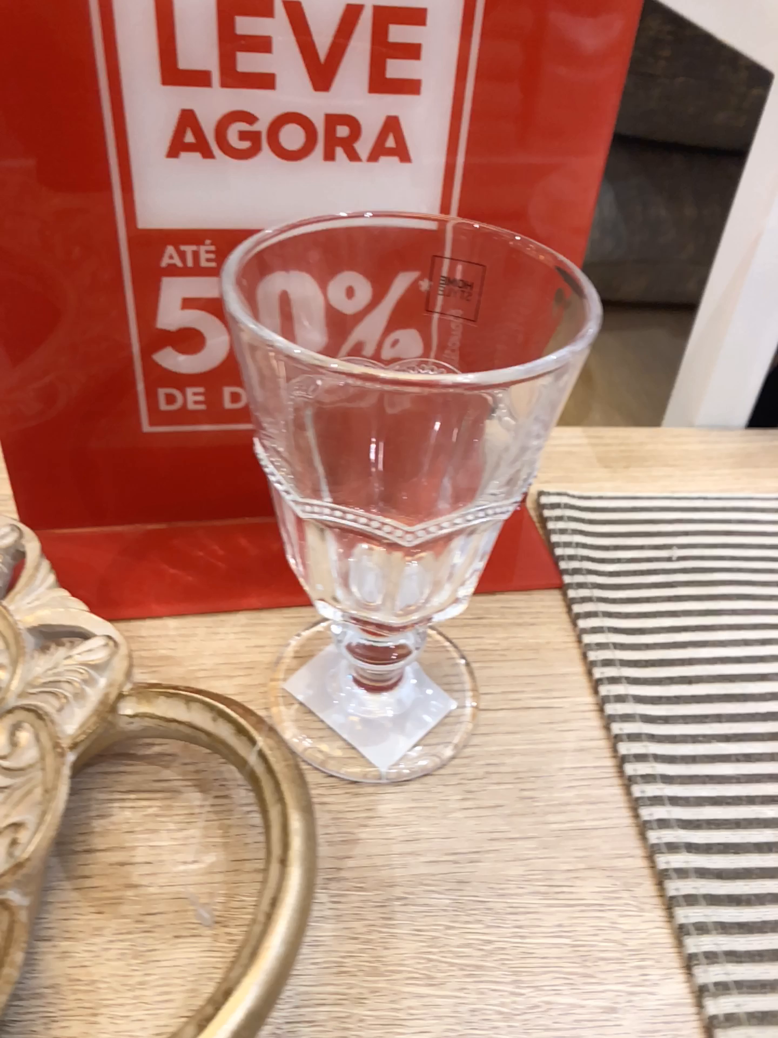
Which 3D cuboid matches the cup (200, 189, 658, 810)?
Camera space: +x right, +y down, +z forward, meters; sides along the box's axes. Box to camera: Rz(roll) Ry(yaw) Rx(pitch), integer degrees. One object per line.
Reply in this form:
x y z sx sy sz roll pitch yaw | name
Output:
0.002 0.001 0.226 0.080 0.139 0.081 3 40 -3 | cup
